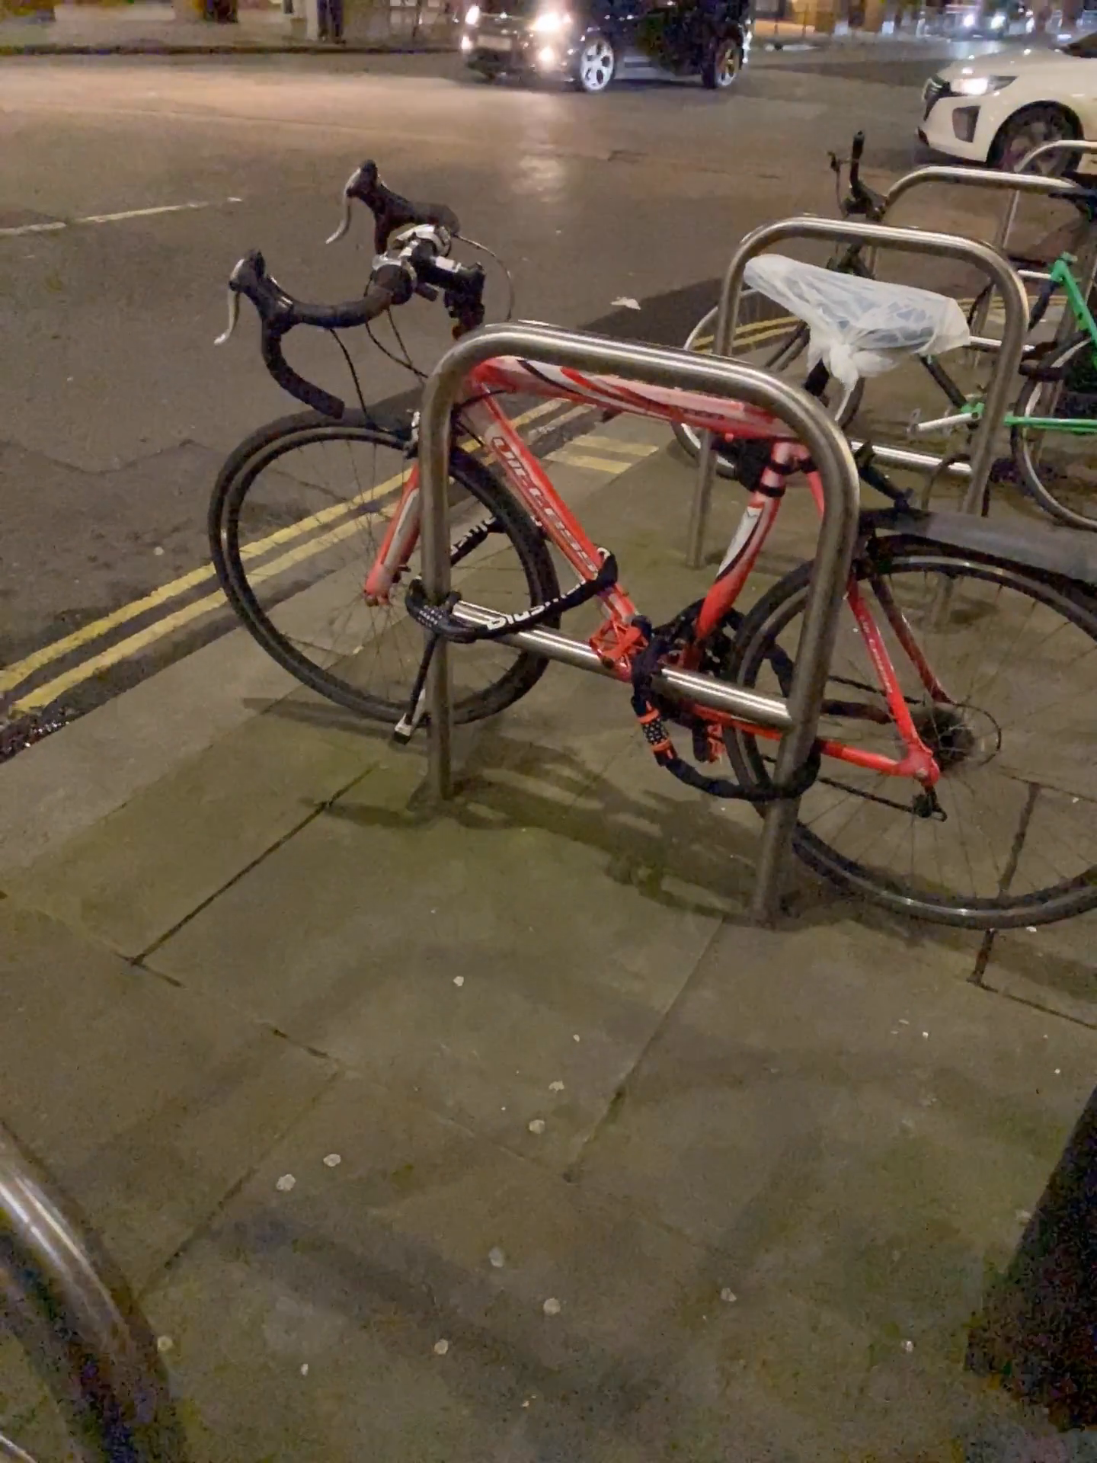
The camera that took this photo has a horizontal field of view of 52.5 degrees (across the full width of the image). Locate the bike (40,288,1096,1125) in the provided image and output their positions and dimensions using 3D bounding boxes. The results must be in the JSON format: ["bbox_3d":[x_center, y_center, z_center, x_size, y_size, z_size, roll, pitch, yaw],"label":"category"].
[{"bbox_3d":[0.085,-0.144,1.808,1.661,0.809,0.540,17,36,21],"label":"bike"}]
